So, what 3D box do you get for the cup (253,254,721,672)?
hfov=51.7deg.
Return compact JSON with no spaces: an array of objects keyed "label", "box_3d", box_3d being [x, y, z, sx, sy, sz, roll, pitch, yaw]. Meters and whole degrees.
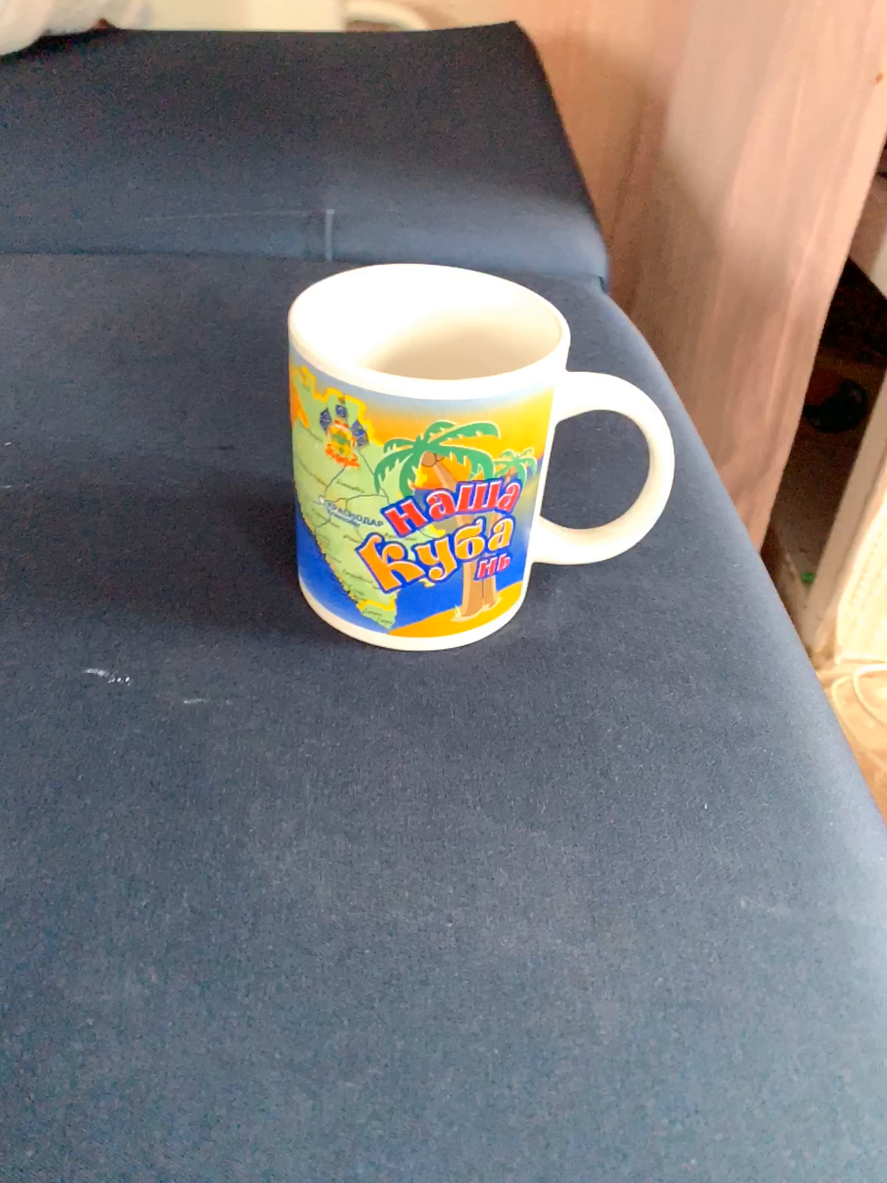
[{"label":"cup","box_3d":[0.011,-0.043,0.301,0.120,0.099,0.091,2,39,0]}]
